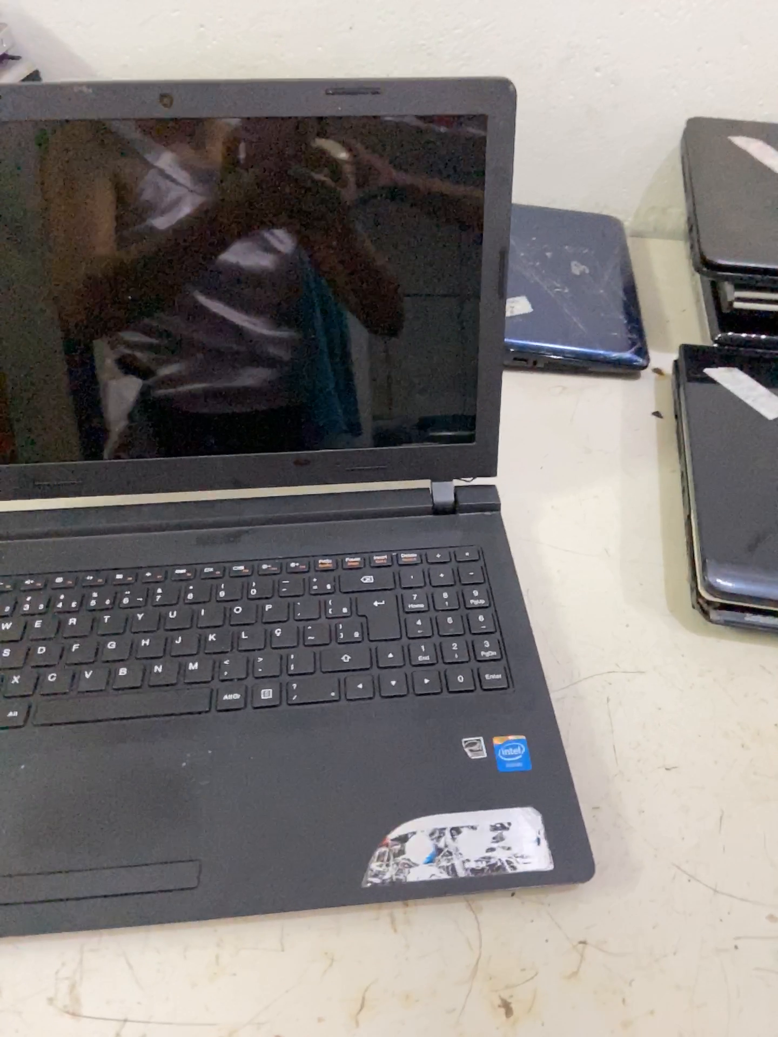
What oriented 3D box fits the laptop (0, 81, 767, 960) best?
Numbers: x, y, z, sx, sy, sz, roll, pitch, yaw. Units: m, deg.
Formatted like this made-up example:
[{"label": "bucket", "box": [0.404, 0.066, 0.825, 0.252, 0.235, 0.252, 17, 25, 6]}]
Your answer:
[{"label": "laptop", "box": [-0.104, -0.027, 0.391, 0.375, 0.230, 0.339, -3, 46, -4]}]
